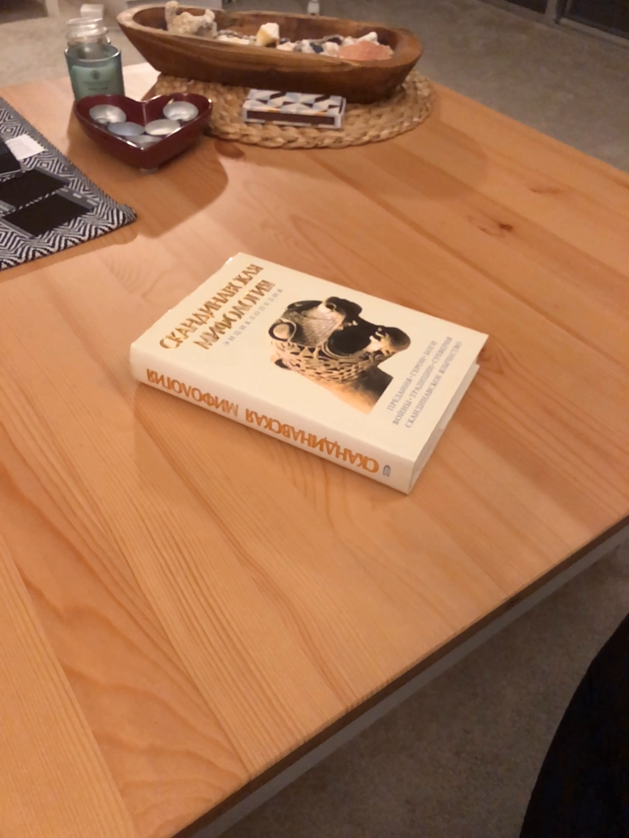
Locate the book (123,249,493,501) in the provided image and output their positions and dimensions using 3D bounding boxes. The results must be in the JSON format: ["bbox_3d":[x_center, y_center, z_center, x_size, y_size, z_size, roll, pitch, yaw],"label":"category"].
[{"bbox_3d":[-0.001,-0.045,0.501,0.215,0.030,0.151,22,47,18],"label":"book"}]
